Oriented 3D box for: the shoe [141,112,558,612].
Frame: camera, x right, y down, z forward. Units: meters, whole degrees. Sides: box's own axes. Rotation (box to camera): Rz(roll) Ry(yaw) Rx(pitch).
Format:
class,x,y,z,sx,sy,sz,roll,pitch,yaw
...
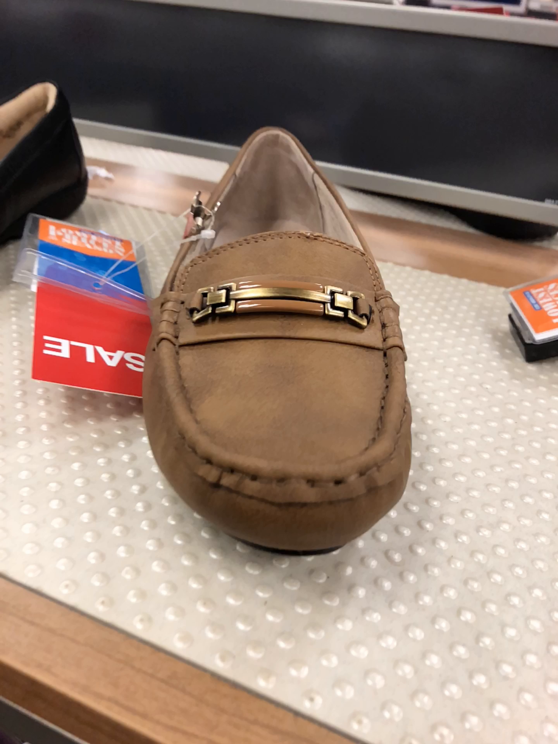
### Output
class,x,y,z,sx,sy,sz,roll,pitch,yaw
shoe,0.003,-0.035,0.239,0.087,0.079,0.237,2,31,-7
